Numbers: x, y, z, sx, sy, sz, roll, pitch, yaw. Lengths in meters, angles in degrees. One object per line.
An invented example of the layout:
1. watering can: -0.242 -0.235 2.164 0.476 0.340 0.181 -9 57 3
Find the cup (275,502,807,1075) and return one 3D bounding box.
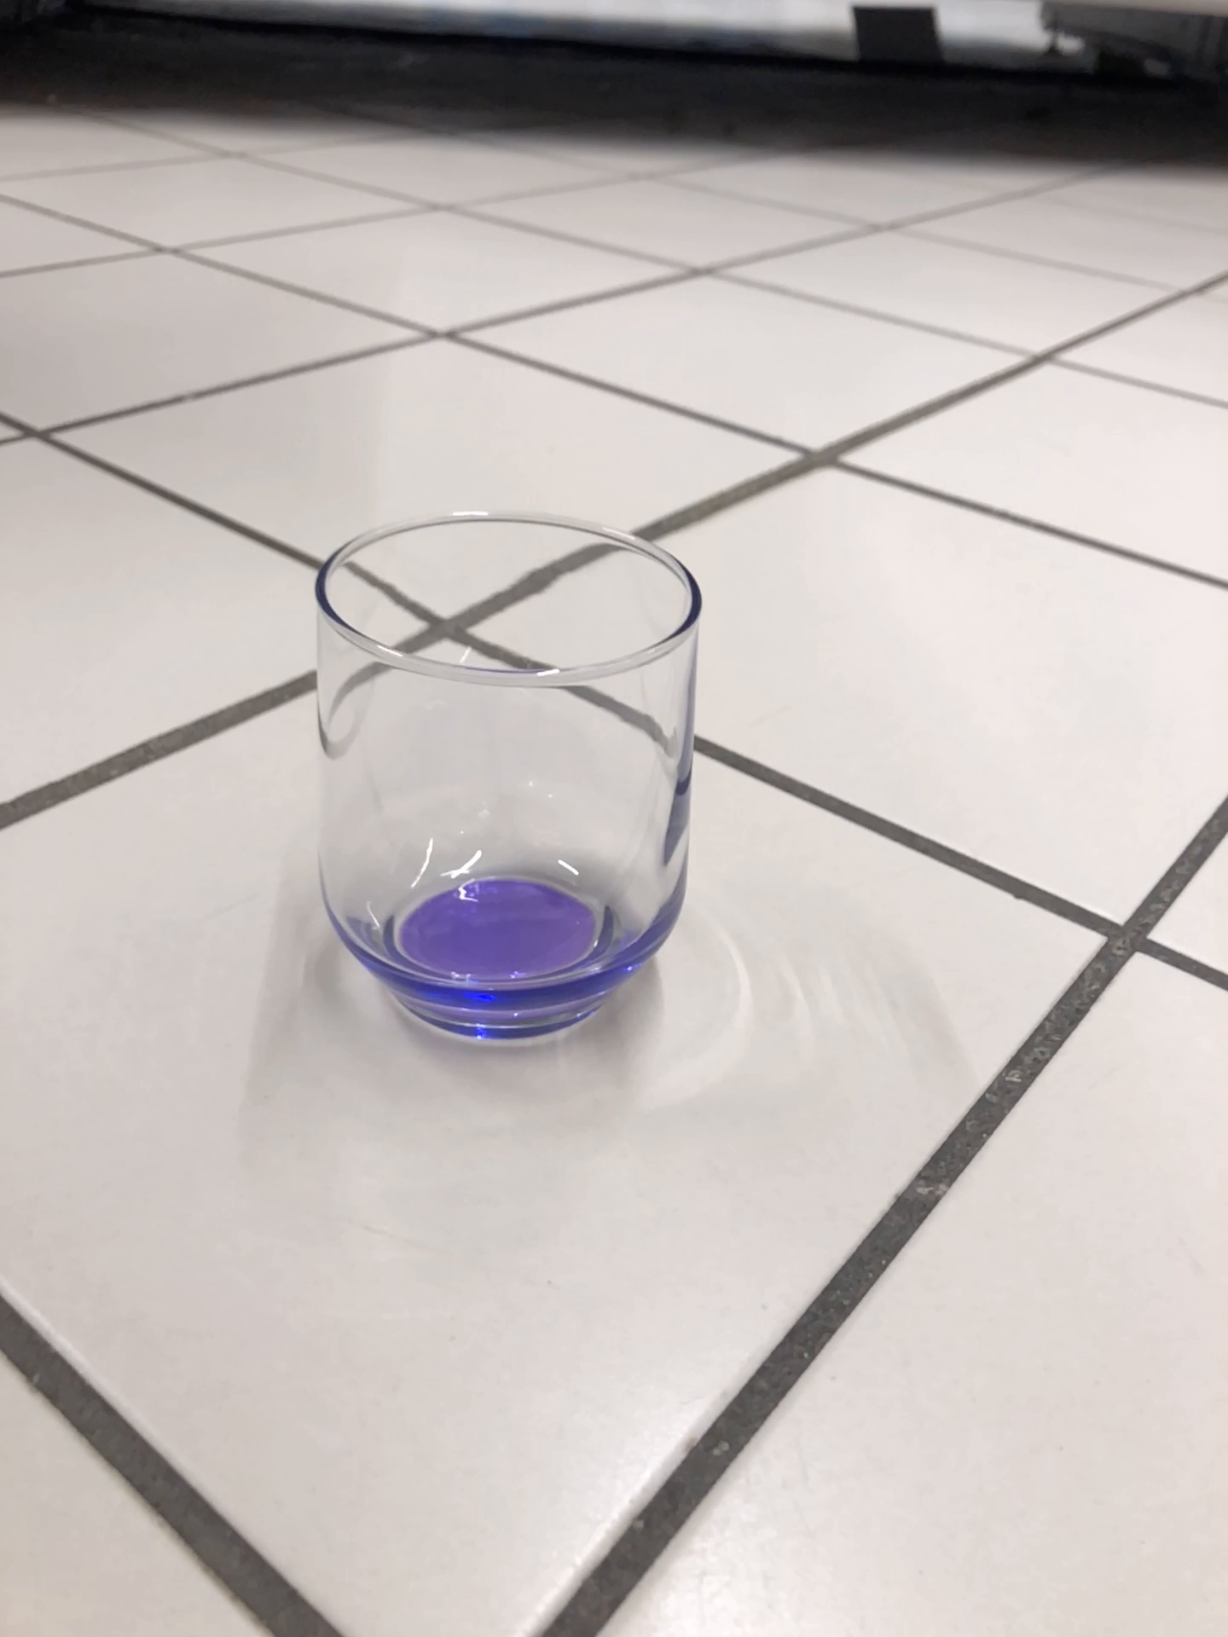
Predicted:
1. cup: -0.017 -0.009 0.235 0.069 0.063 0.071 3 34 -2
